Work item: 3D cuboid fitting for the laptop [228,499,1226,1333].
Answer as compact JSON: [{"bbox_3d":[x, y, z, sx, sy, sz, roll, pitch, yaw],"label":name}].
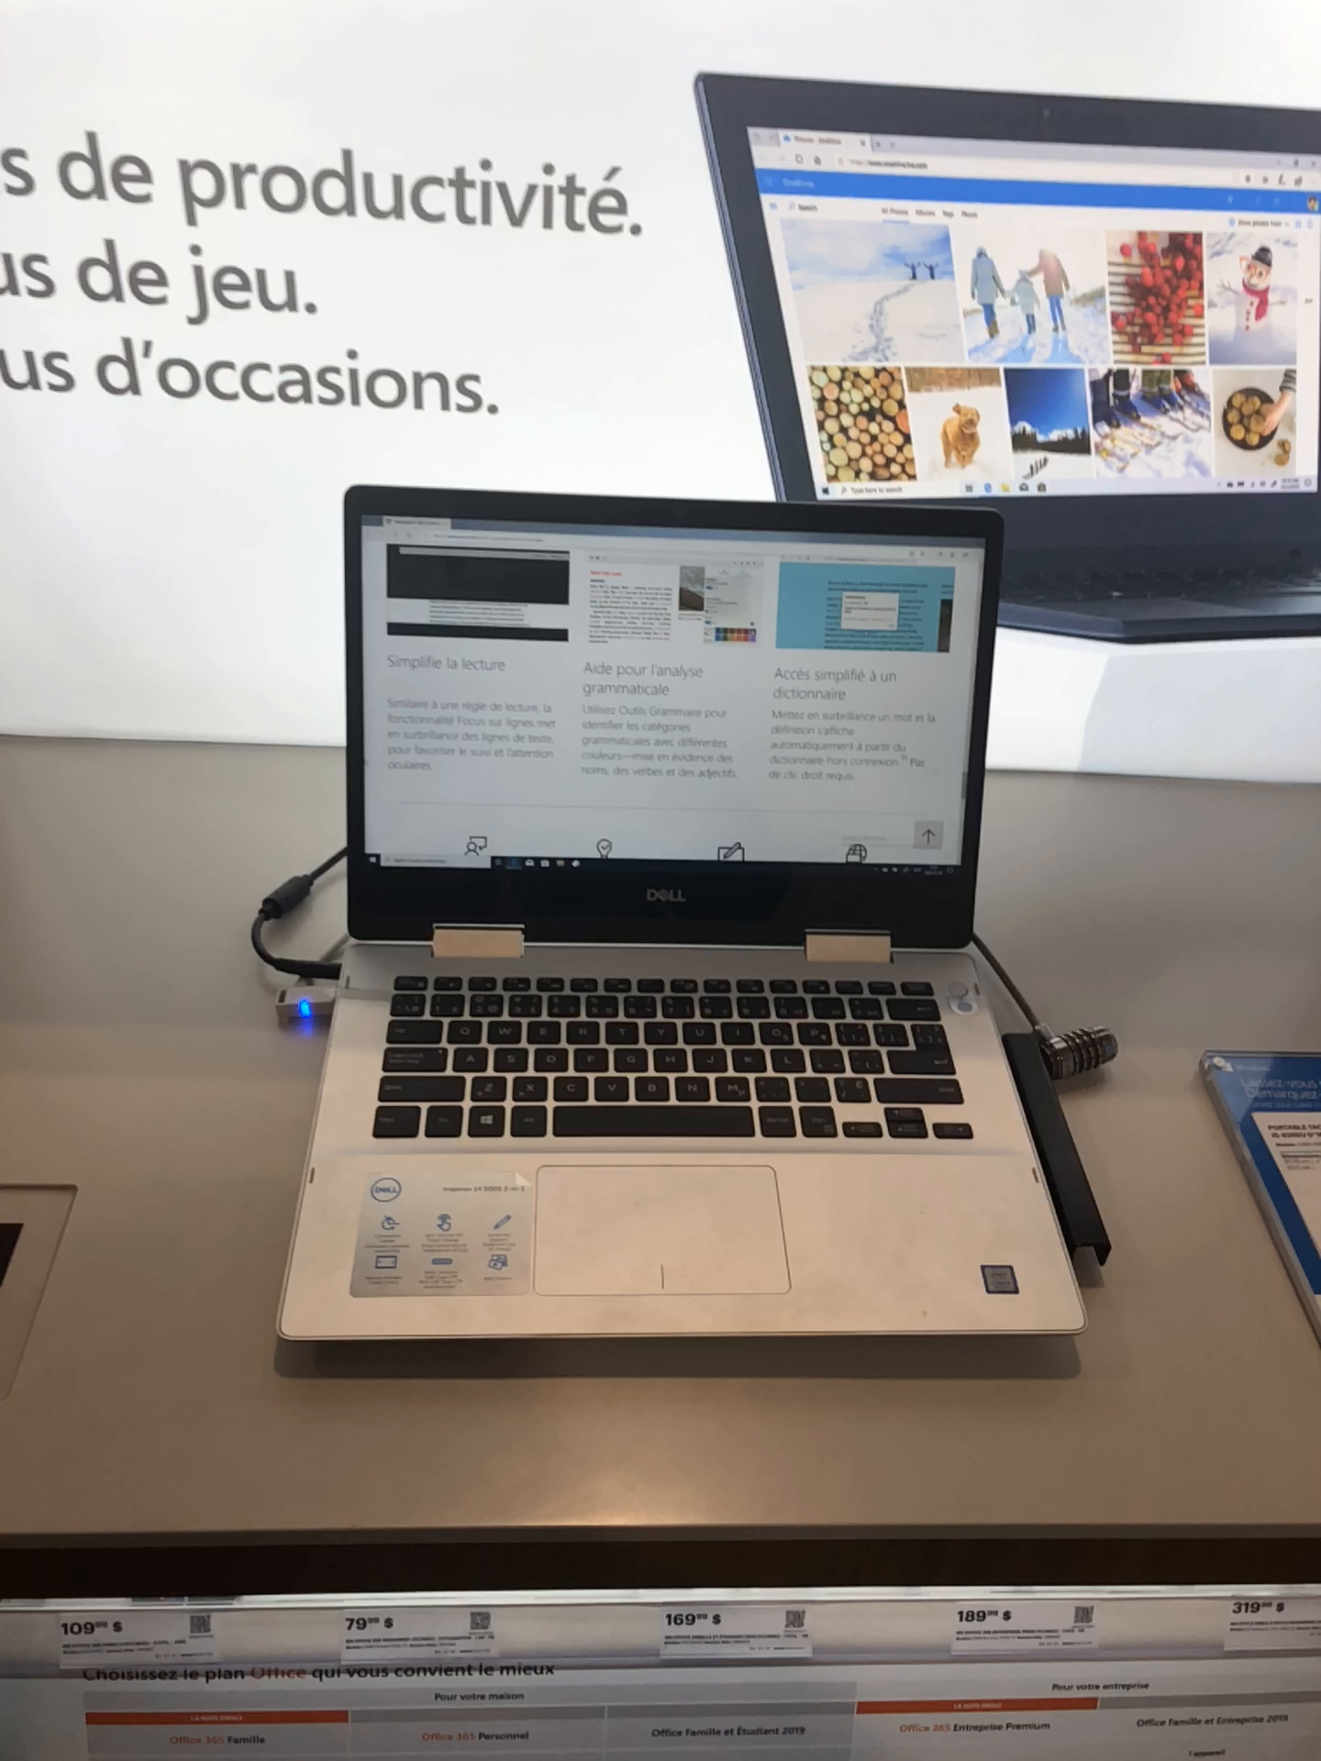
[{"bbox_3d":[0.010,-0.002,0.649,0.316,0.193,0.338,1,40,-4],"label":"laptop"}]
